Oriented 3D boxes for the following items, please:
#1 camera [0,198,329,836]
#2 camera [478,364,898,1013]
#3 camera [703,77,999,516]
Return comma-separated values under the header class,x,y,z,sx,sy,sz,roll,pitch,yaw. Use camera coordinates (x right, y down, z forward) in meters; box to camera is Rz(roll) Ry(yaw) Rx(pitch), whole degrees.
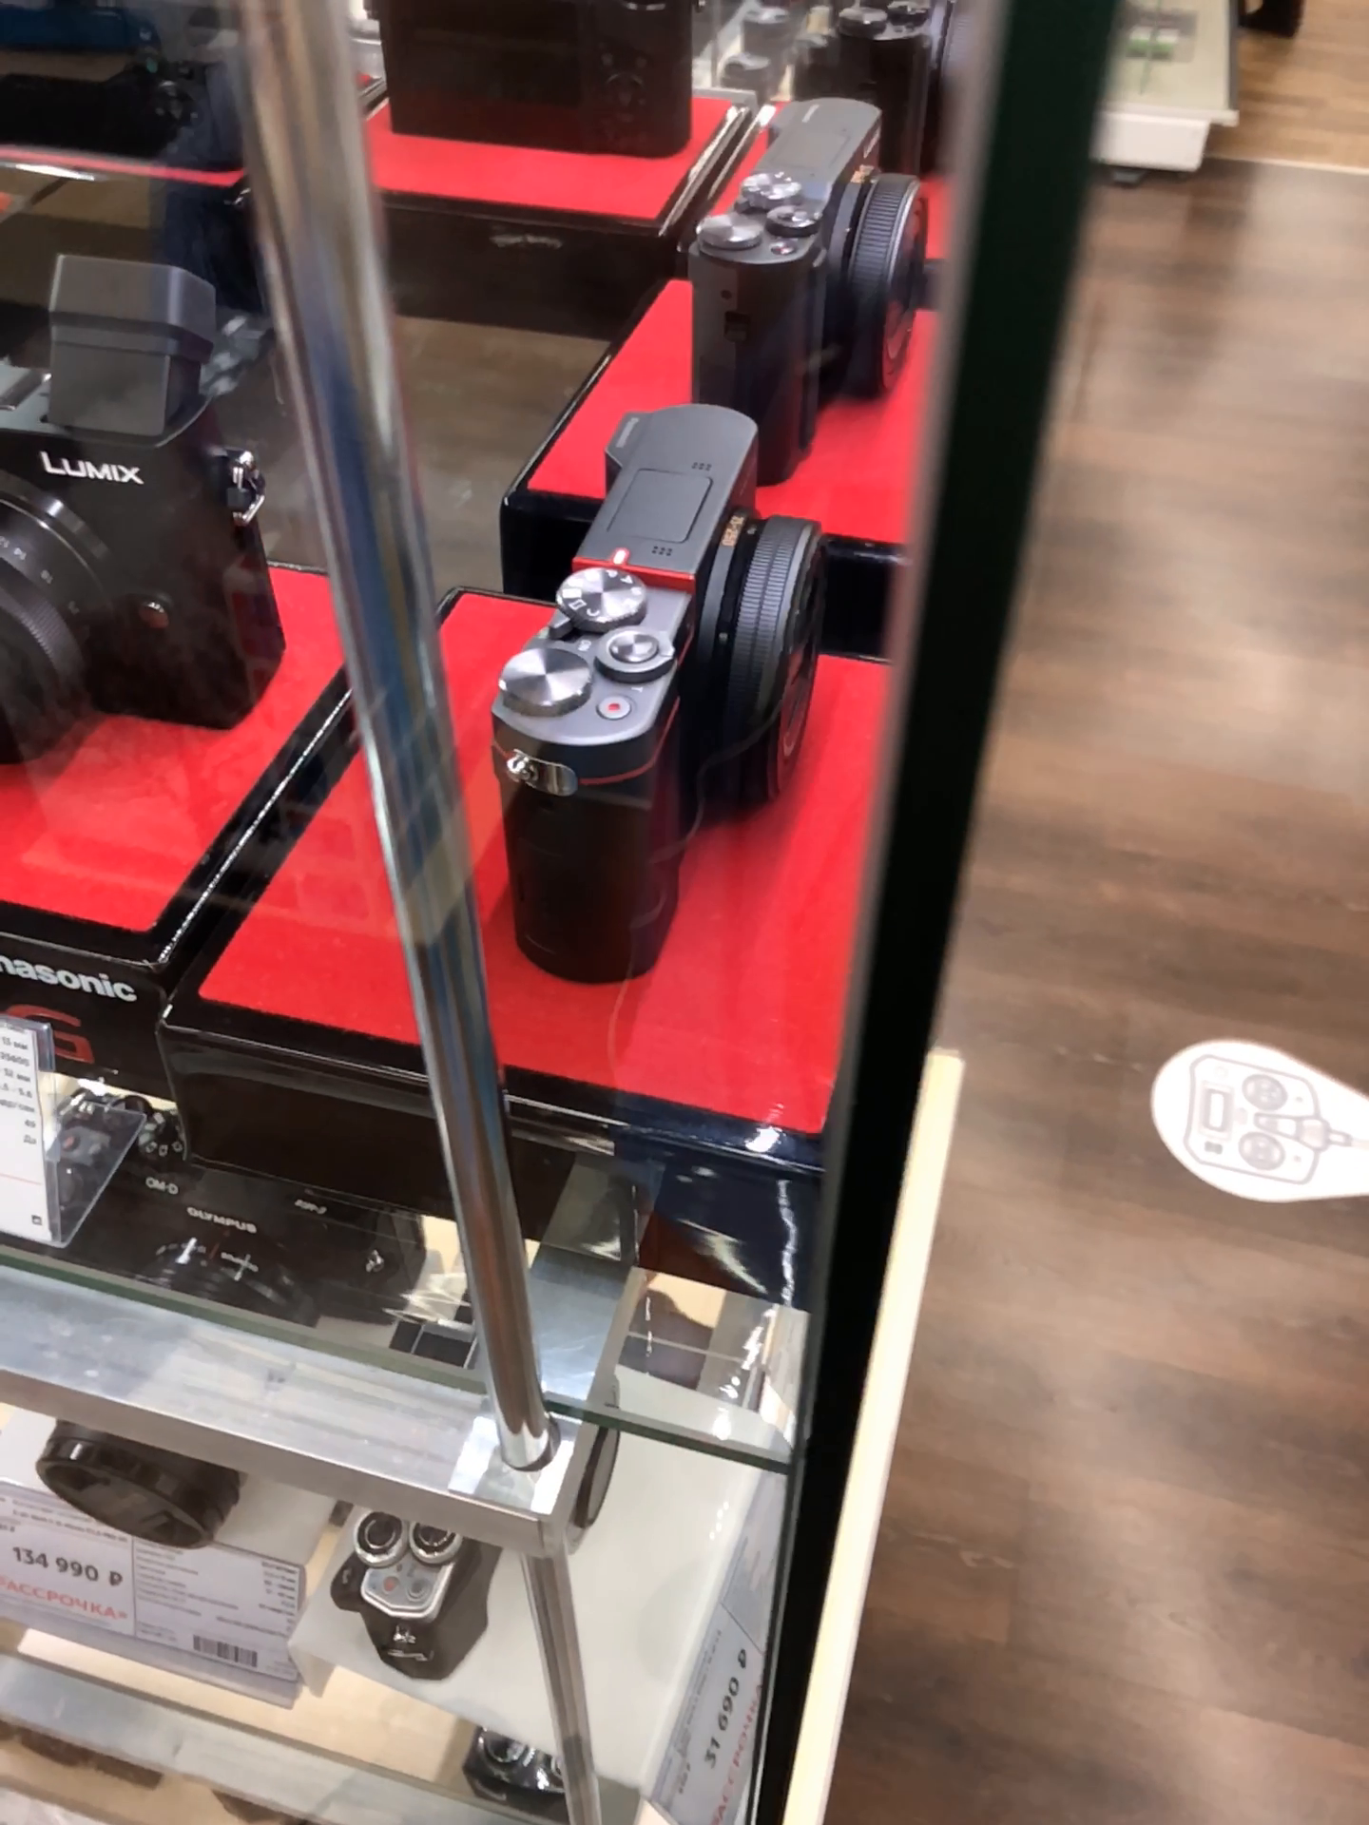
class,x,y,z,sx,sy,sz,roll,pitch,yaw
camera,-0.153,-0.086,0.335,0.113,0.101,0.069,11,47,10
camera,0.005,-0.049,0.308,0.050,0.070,0.113,12,47,11
camera,0.047,-0.176,0.426,0.051,0.070,0.113,14,48,12
